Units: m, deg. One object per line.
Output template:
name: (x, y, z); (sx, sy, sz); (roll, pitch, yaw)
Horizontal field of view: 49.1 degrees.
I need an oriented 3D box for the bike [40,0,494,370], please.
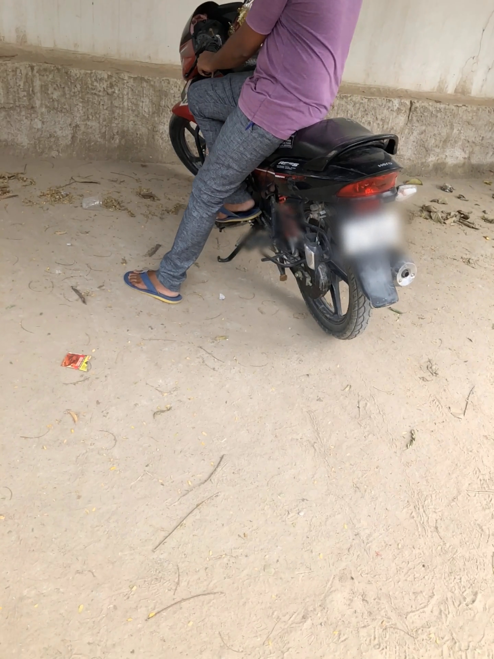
bike: (-0.127, -0.920, 2.142); (0.743, 1.086, 1.703); (-14, 44, -30)
